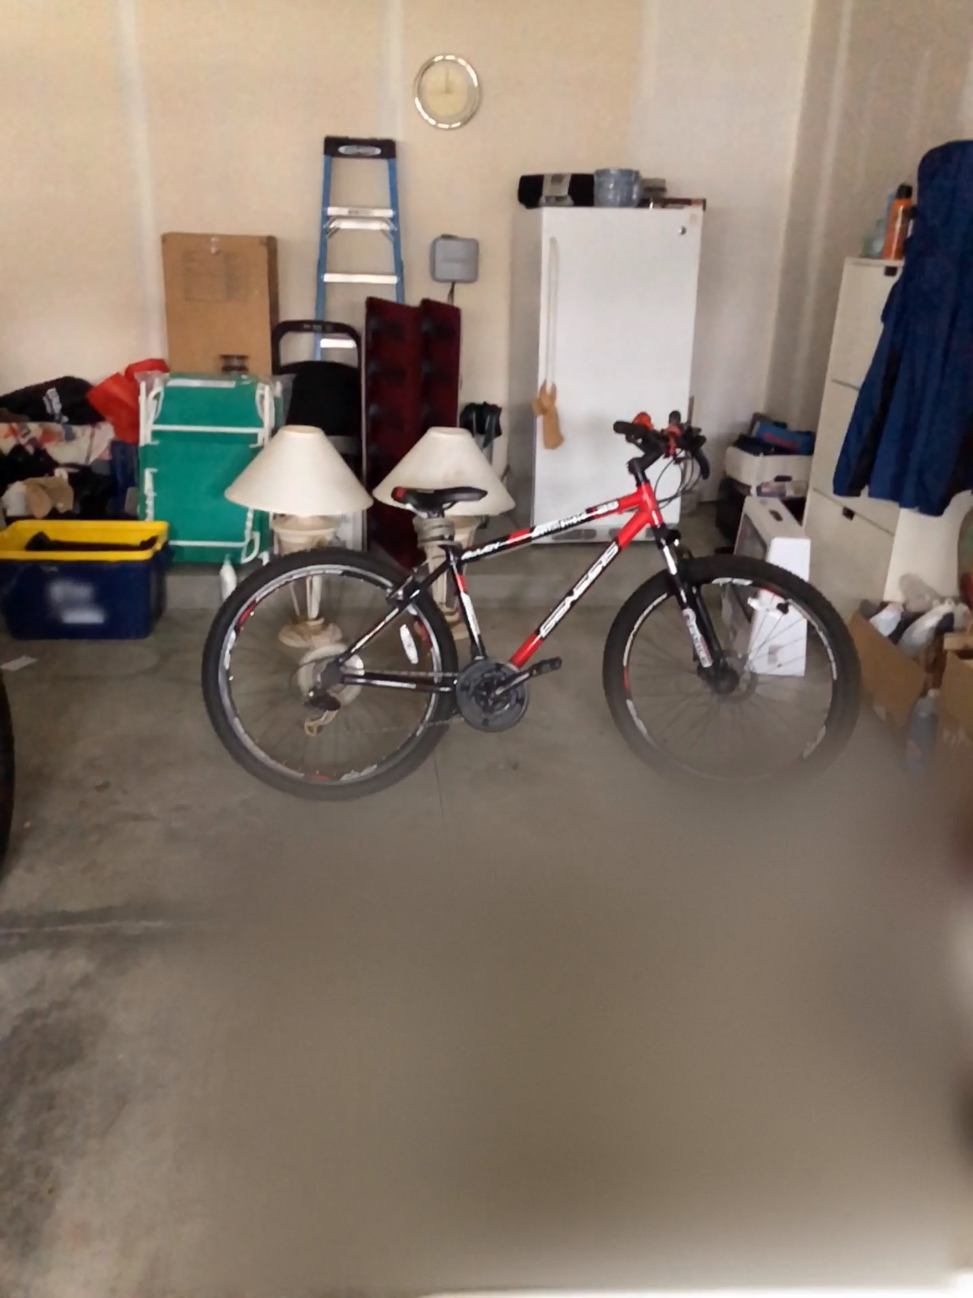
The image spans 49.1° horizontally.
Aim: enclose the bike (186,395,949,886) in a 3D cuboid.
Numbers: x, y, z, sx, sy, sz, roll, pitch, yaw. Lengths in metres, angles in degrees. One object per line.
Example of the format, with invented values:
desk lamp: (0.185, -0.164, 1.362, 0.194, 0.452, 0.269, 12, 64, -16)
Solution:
bike: (0.103, -0.055, 2.790, 1.668, 1.054, 0.591, 2, 20, 2)
